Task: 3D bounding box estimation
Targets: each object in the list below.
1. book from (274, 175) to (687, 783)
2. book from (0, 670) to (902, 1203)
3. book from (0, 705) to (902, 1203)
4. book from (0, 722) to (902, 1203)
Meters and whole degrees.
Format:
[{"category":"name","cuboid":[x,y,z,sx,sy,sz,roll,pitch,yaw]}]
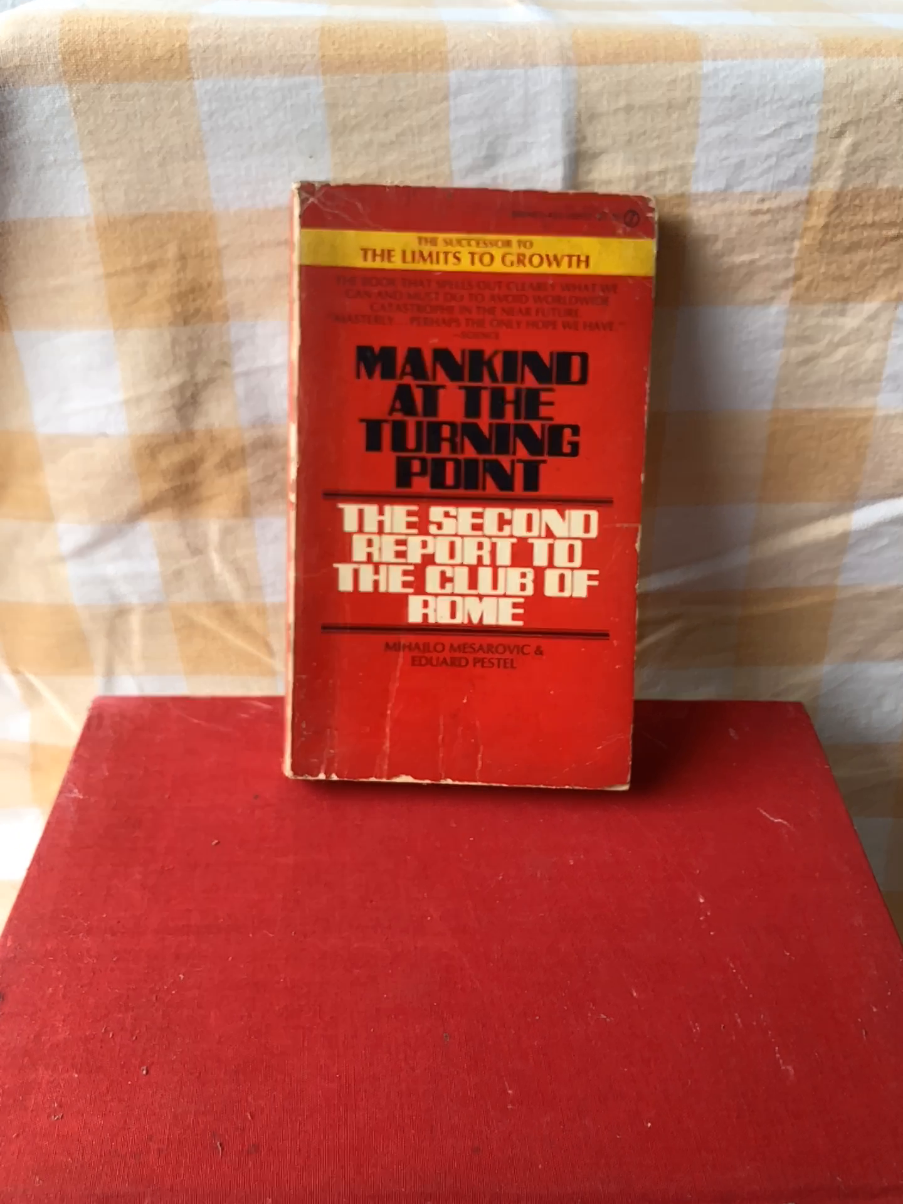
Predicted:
[{"category":"book","cuboid":[0.006,-0.034,0.308,0.110,0.170,0.040,1,12,-1]},{"category":"book","cuboid":[-0.004,0.104,0.341,0.280,0.040,0.191,-1,37,2]},{"category":"book","cuboid":[-0.009,0.118,0.340,0.270,0.040,0.191,-1,37,2]},{"category":"book","cuboid":[-0.005,0.123,0.327,0.240,0.040,0.191,-1,37,2]}]
